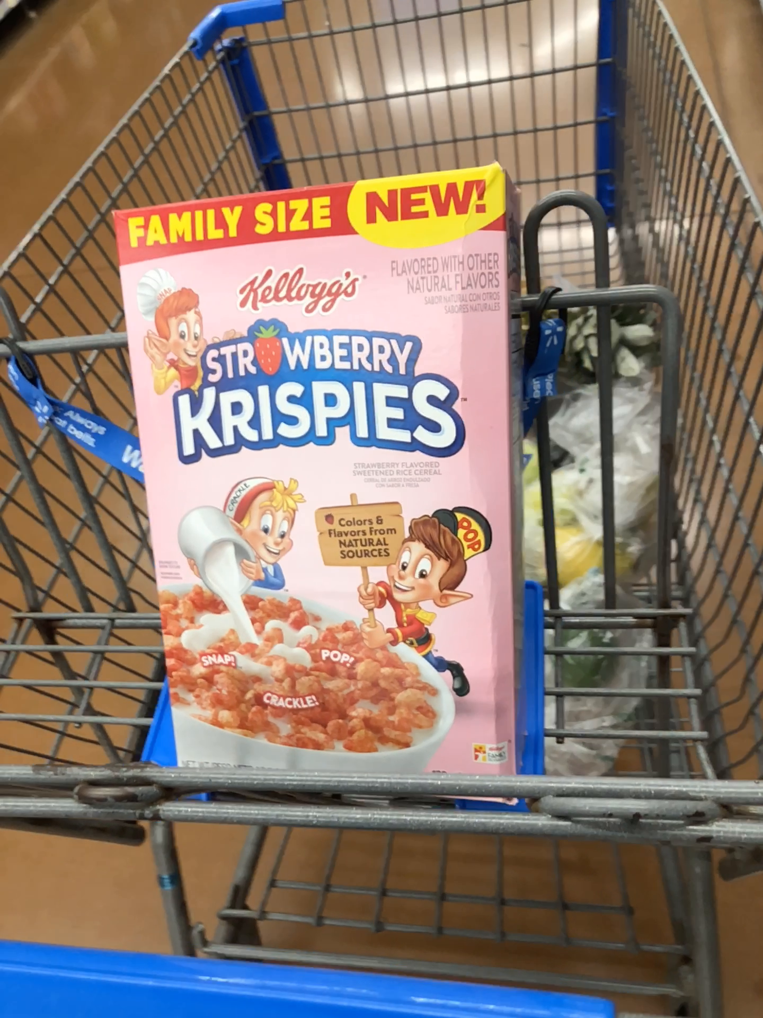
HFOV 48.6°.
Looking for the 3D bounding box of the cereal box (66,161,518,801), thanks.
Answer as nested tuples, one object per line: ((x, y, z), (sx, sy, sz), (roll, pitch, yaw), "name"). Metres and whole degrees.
((-0.036, -0.009, 0.441), (0.200, 0.290, 0.080), (-1, 10, 13), "cereal box")
